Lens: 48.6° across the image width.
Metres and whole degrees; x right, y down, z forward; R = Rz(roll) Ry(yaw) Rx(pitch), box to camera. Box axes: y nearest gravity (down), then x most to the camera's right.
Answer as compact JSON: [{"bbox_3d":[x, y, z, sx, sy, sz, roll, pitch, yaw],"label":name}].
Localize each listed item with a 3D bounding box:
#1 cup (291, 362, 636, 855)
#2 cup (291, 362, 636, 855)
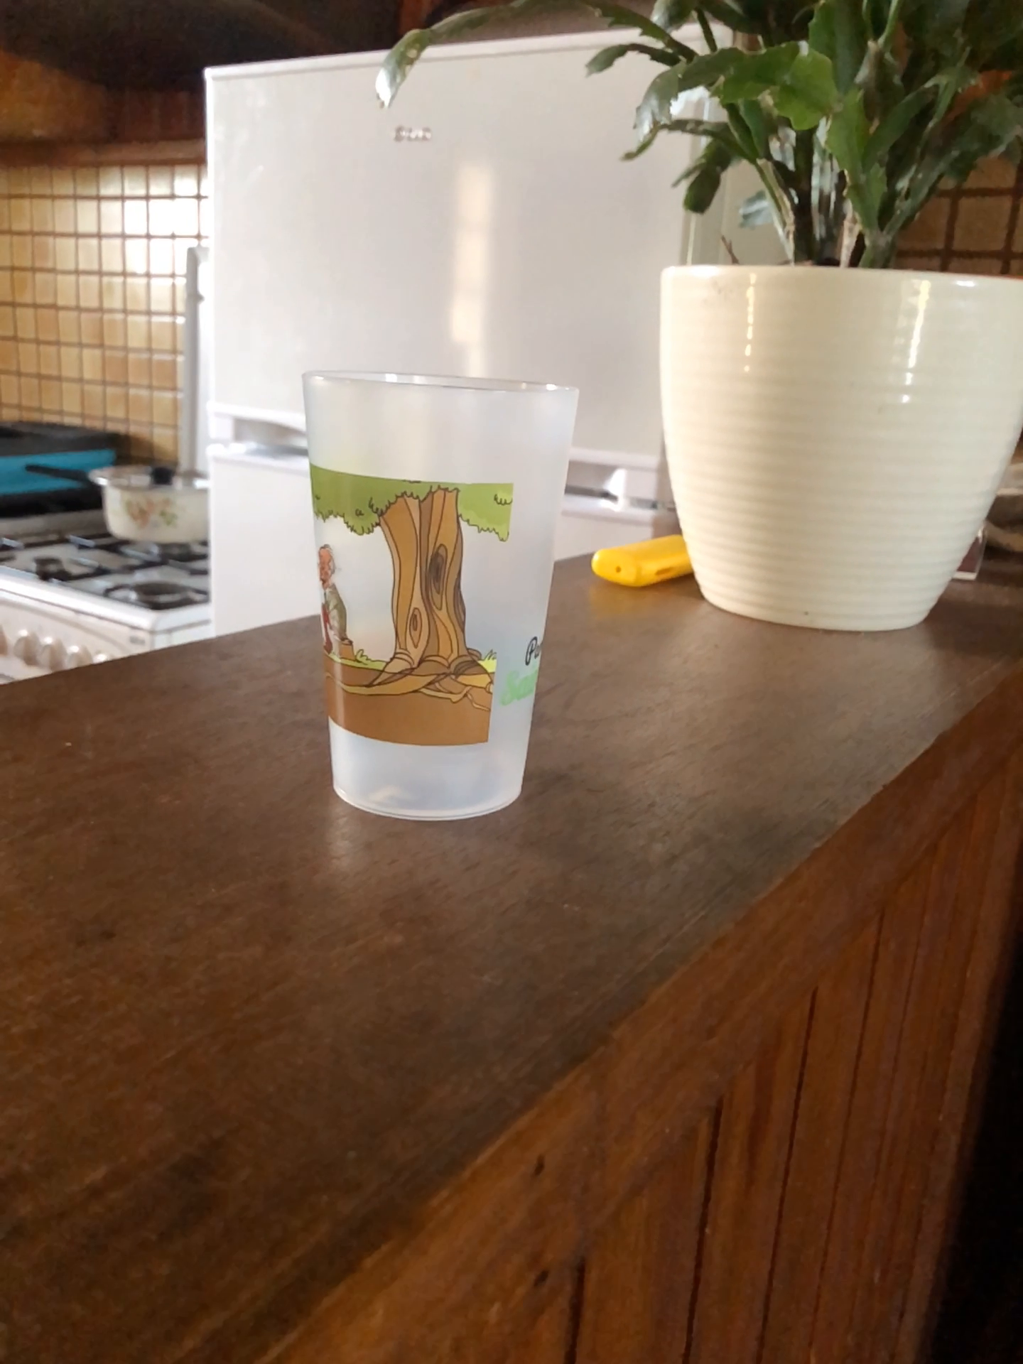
[{"bbox_3d":[-0.020,-0.024,0.319,0.080,0.120,0.080,4,16,-1],"label":"cup"},{"bbox_3d":[-0.020,-0.024,0.319,0.080,0.120,0.080,4,16,-1],"label":"cup"}]
